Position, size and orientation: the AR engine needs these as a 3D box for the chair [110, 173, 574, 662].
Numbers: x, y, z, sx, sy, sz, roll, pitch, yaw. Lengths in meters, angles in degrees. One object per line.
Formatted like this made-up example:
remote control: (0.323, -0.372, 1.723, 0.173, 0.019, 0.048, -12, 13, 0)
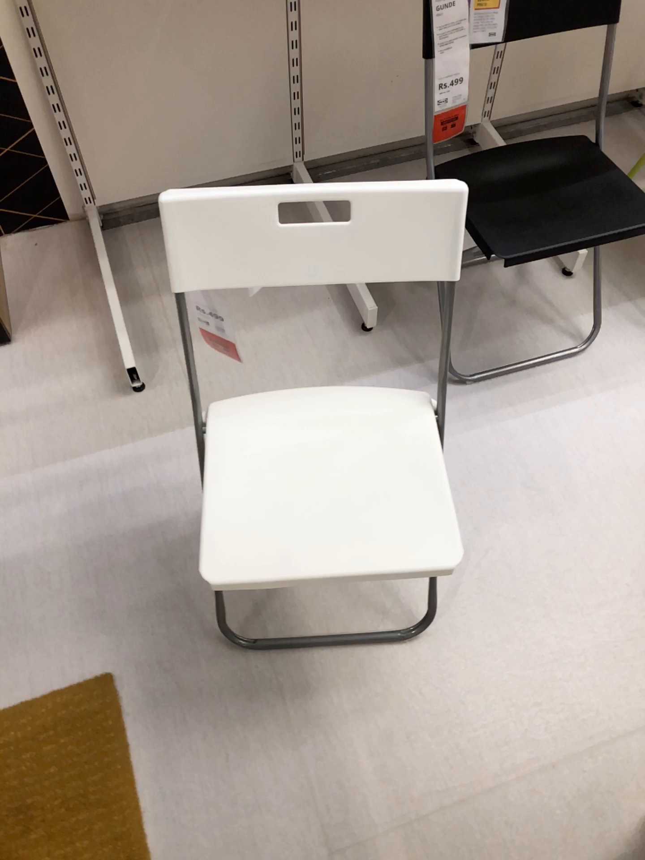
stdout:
chair: (0.010, 0.045, 1.099, 0.450, 0.726, 0.402, -3, 57, -2)
